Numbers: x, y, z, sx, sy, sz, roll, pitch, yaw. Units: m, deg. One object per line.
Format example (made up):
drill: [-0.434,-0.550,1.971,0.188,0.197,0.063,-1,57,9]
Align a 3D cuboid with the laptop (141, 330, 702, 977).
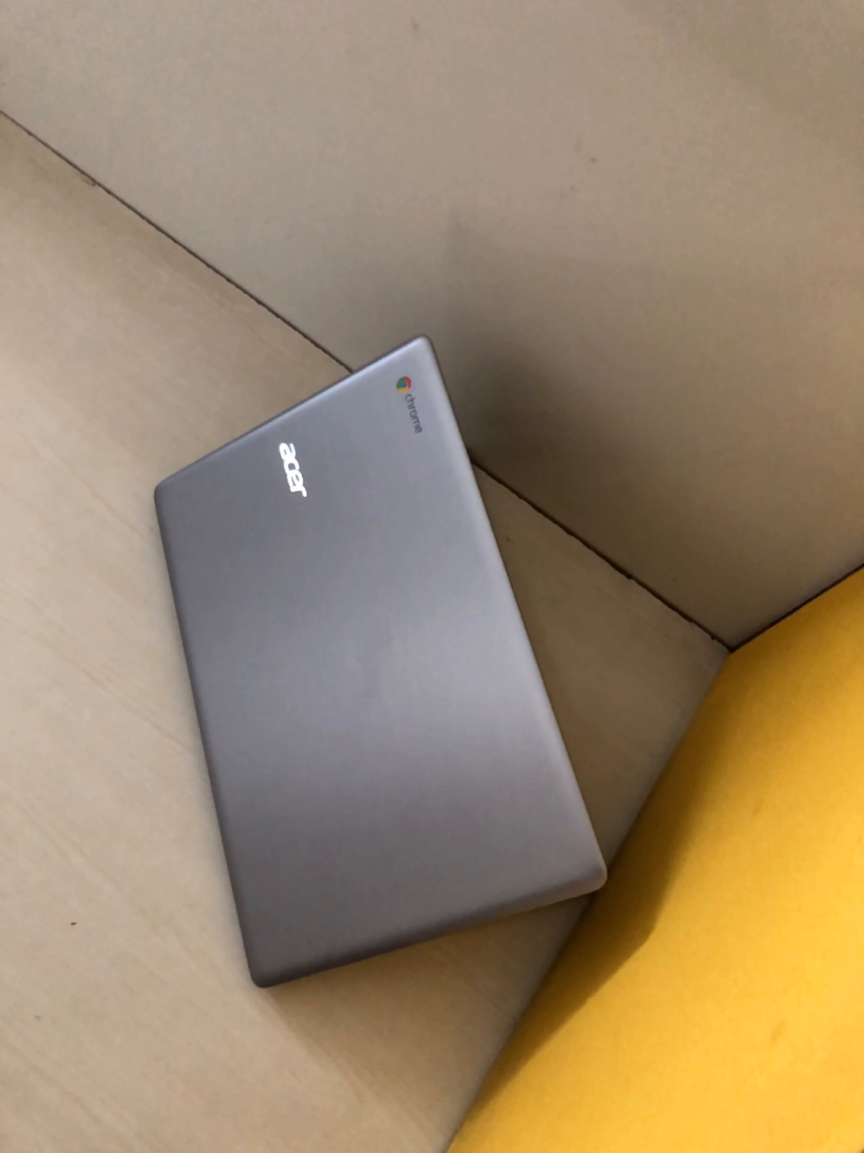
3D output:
laptop: [-0.025,0.039,0.563,0.221,0.135,0.315,-11,71,-15]
